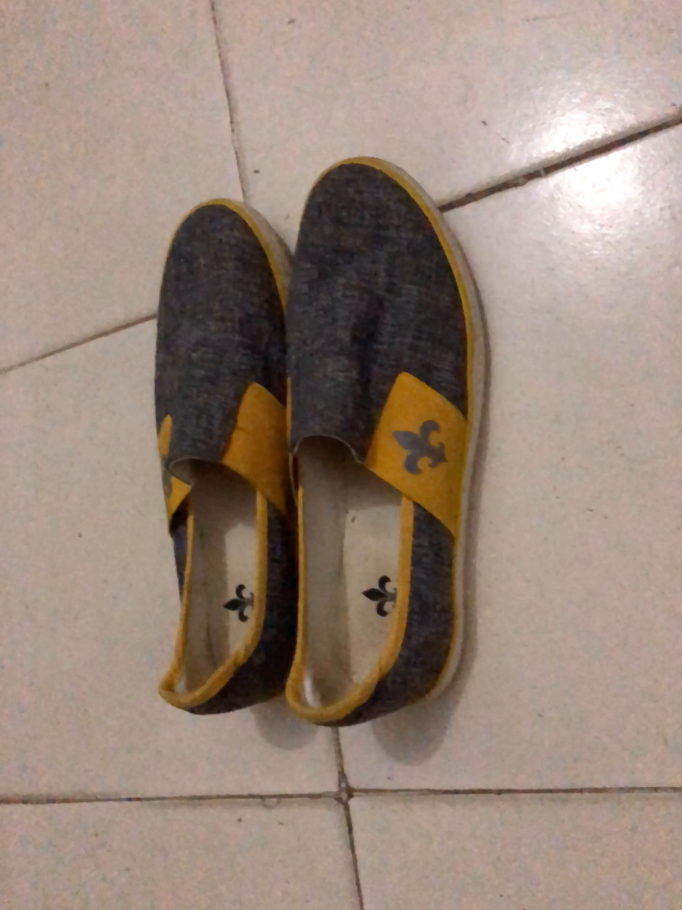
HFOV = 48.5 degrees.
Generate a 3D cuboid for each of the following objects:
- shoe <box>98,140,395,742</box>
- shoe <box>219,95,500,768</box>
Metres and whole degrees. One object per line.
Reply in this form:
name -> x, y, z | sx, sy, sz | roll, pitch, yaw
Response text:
shoe -> -0.052, -0.003, 0.426 | 0.100, 0.100, 0.290 | -10, 83, 25
shoe -> 0.012, -0.008, 0.355 | 0.090, 0.100, 0.260 | -4, 85, 26
